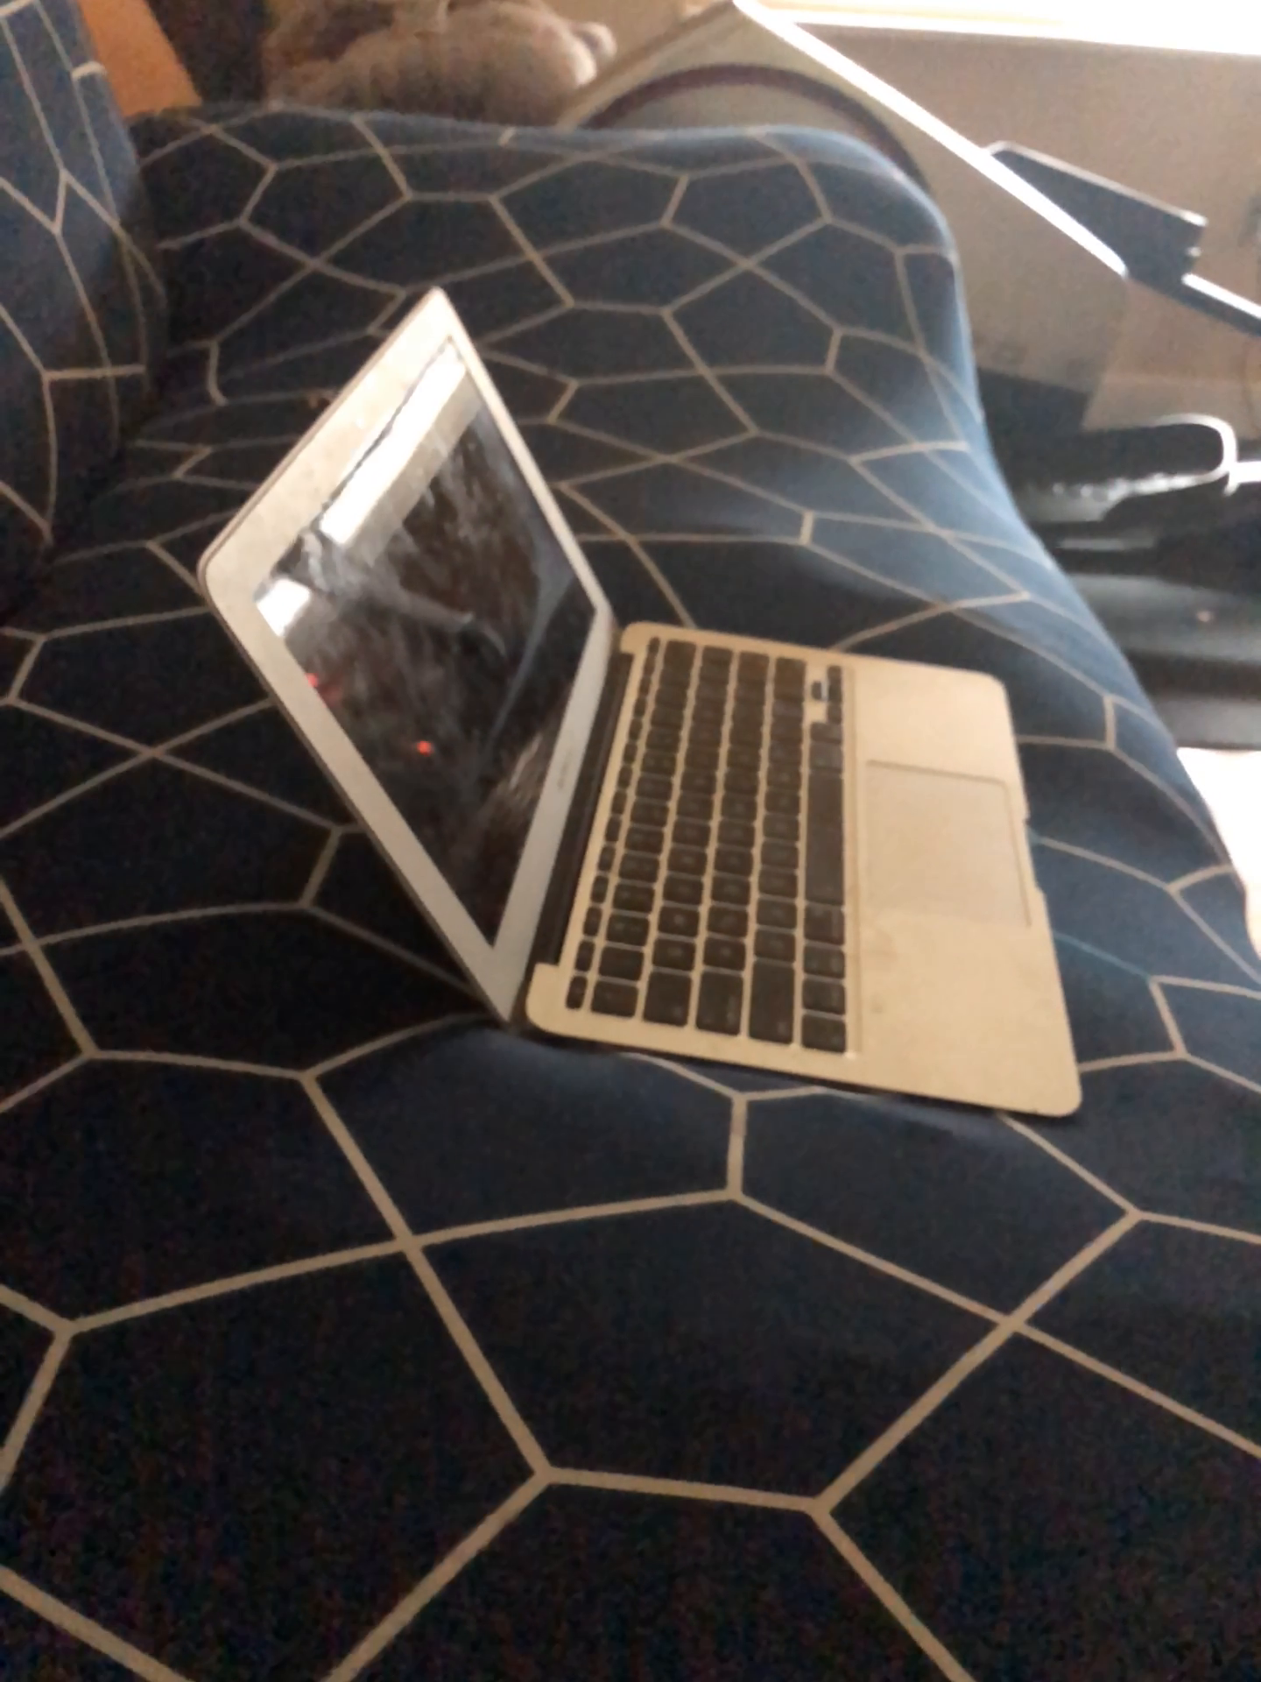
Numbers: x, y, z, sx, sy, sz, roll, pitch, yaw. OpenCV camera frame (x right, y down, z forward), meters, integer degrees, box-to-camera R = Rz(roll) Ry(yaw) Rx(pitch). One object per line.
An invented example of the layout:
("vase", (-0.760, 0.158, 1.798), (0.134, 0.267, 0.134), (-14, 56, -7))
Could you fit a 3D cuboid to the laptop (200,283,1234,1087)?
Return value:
("laptop", (0.034, -0.081, 0.535), (0.279, 0.156, 0.283), (7, 35, 2))
